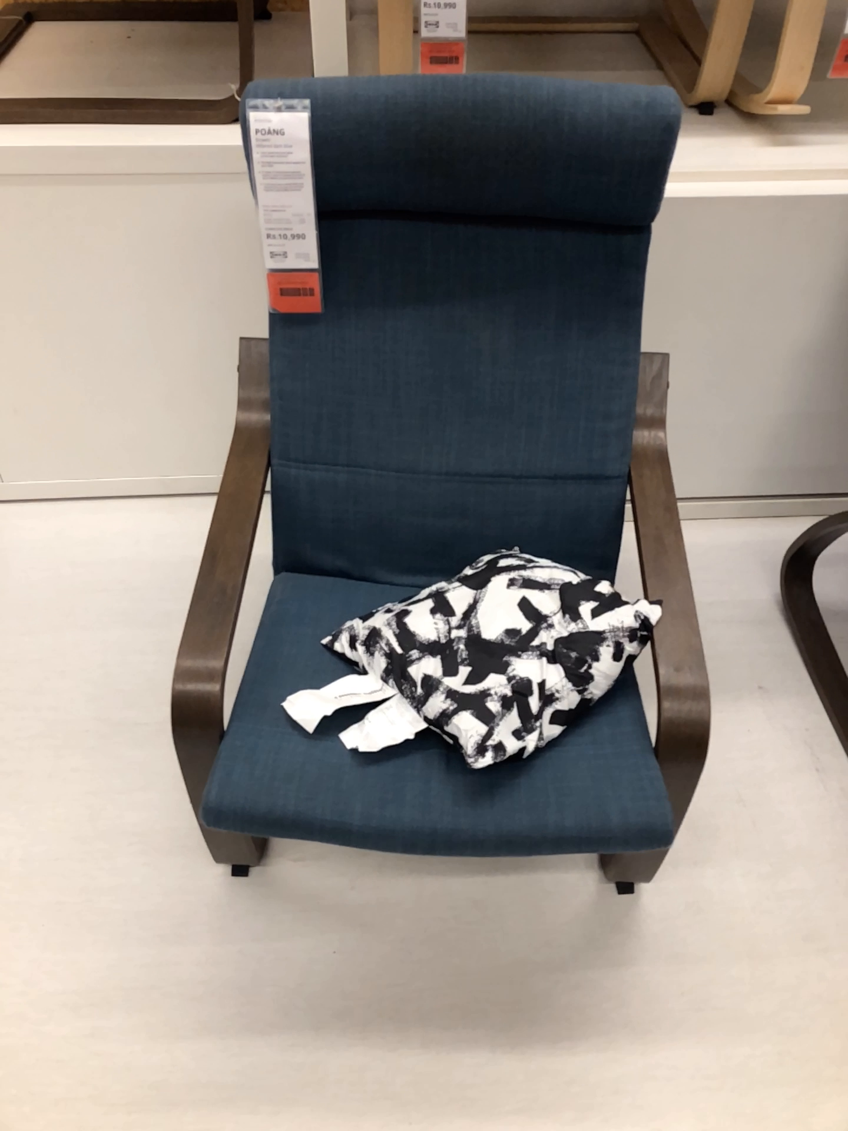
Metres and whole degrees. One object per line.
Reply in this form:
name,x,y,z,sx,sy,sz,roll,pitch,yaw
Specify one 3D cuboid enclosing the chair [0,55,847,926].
chair,0.027,-0.074,1.231,0.720,0.884,0.695,3,45,2
